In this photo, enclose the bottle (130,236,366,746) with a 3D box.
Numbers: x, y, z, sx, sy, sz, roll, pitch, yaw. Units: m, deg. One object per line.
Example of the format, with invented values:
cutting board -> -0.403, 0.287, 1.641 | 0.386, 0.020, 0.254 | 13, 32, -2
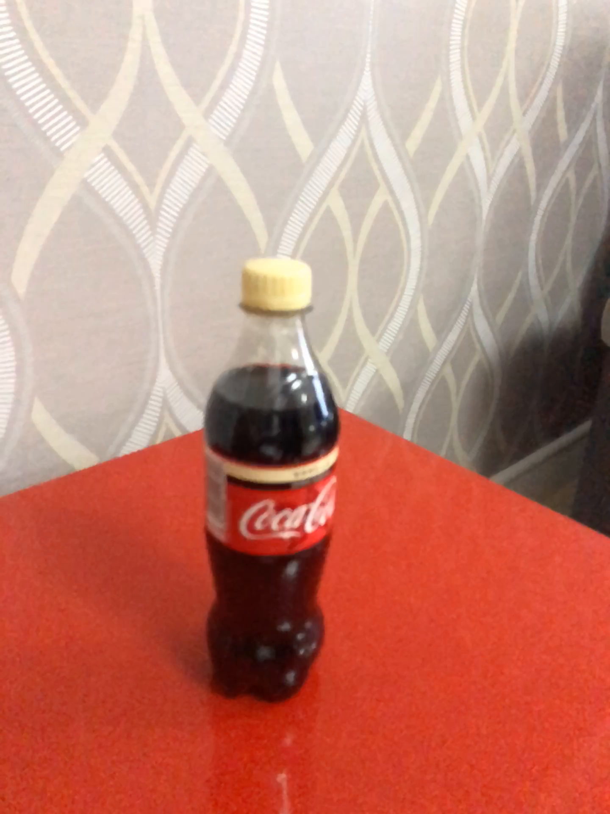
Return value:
bottle -> -0.031, 0.043, 0.341 | 0.070, 0.238, 0.080 | -18, 31, -37
